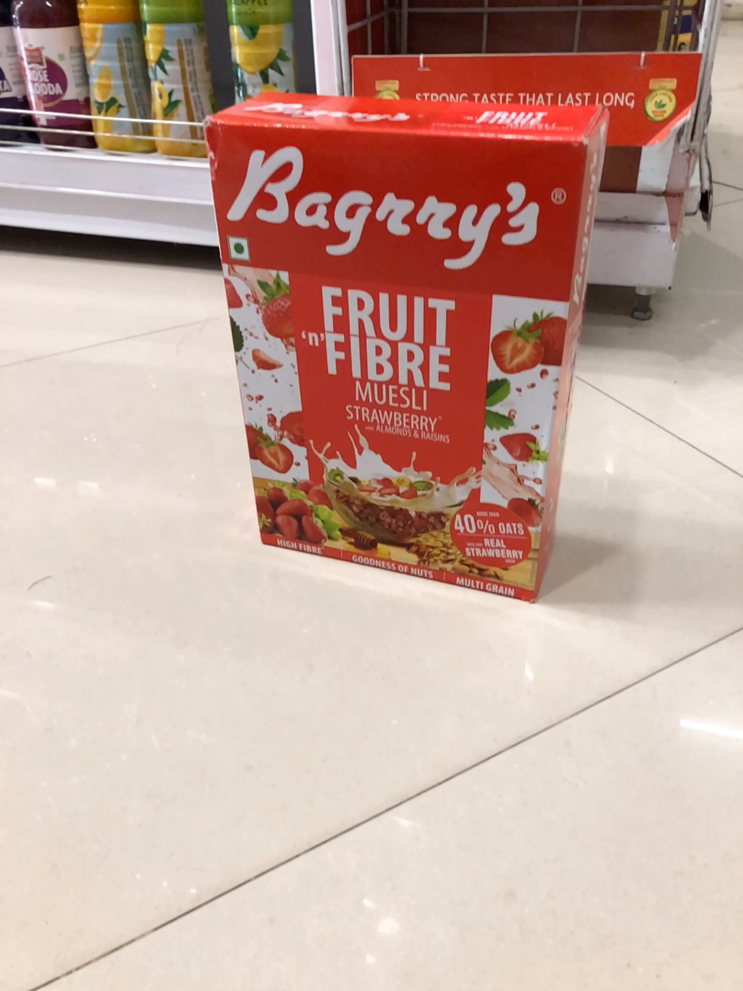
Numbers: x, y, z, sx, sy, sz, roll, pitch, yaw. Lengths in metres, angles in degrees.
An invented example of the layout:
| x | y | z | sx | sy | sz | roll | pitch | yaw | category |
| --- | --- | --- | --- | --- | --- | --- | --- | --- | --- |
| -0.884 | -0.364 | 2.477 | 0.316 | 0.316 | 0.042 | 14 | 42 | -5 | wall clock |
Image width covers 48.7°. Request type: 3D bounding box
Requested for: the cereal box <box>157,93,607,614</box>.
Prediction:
| x | y | z | sx | sy | sz | roll | pitch | yaw | category |
| --- | --- | --- | --- | --- | --- | --- | --- | --- | --- |
| 0.007 | -0.074 | 0.460 | 0.200 | 0.258 | 0.070 | 10 | 37 | 17 | cereal box |
